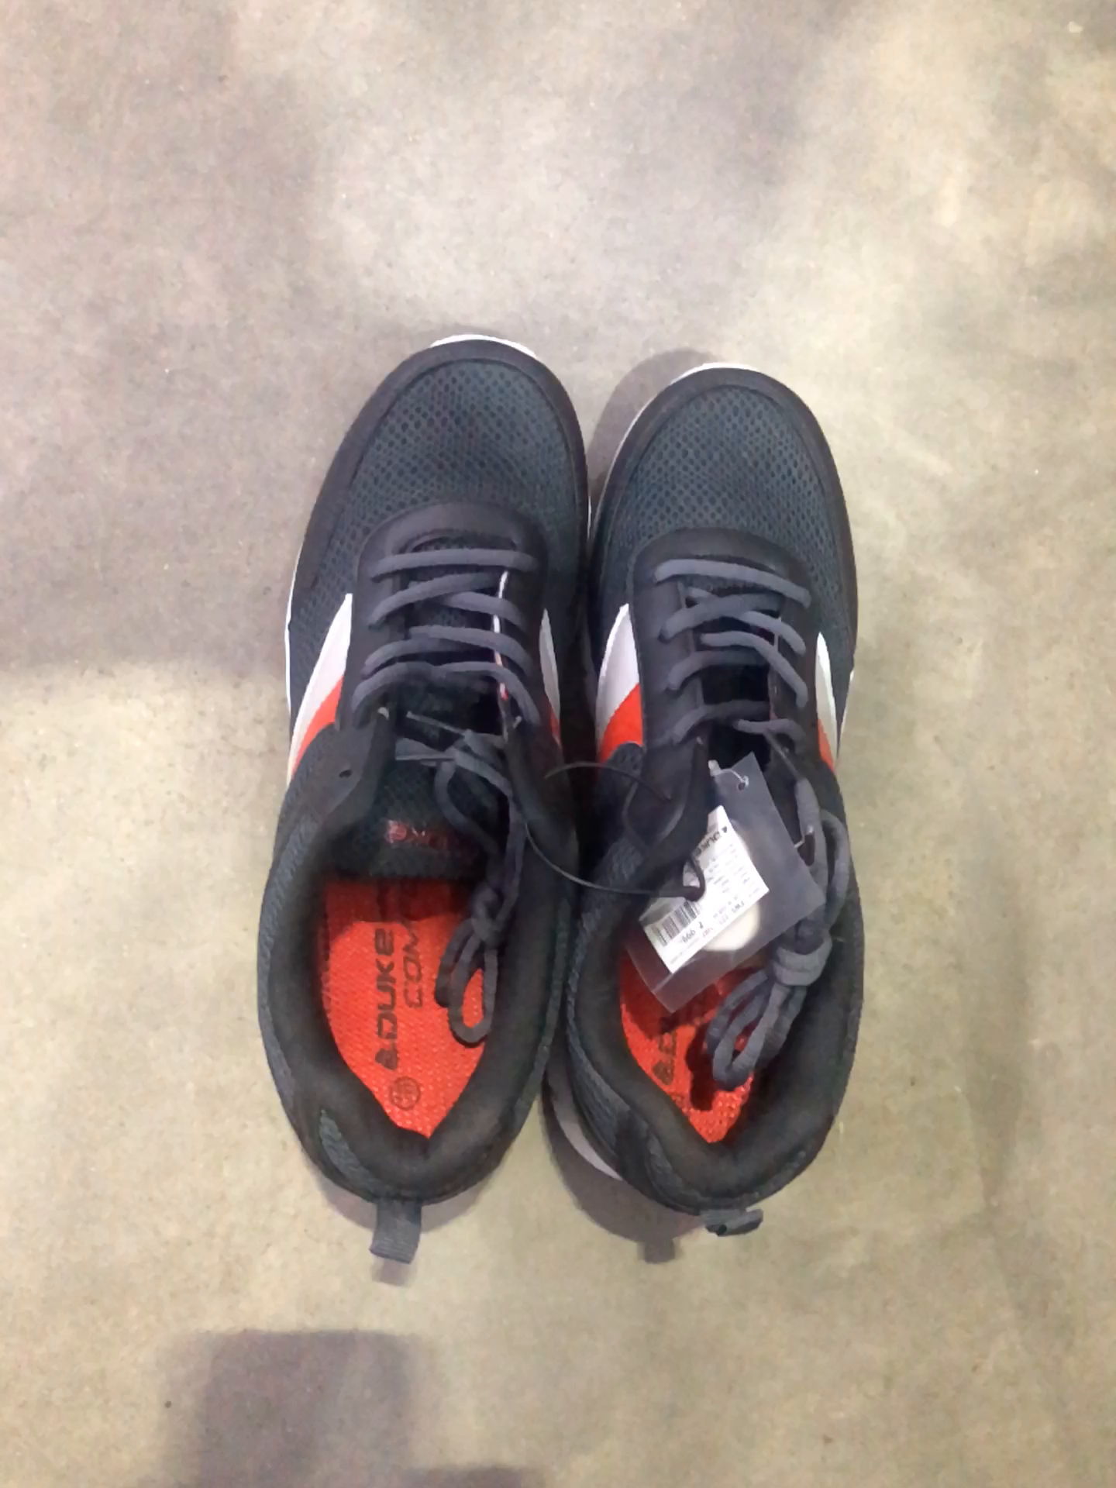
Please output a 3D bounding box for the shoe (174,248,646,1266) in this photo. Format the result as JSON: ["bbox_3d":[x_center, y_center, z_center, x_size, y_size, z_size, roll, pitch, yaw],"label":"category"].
[{"bbox_3d":[-0.043,0.005,0.384,0.110,0.100,0.270,4,85,-7],"label":"shoe"}]

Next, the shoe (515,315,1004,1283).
[{"bbox_3d":[0.061,0.017,0.408,0.110,0.100,0.270,7,84,-7],"label":"shoe"}]
